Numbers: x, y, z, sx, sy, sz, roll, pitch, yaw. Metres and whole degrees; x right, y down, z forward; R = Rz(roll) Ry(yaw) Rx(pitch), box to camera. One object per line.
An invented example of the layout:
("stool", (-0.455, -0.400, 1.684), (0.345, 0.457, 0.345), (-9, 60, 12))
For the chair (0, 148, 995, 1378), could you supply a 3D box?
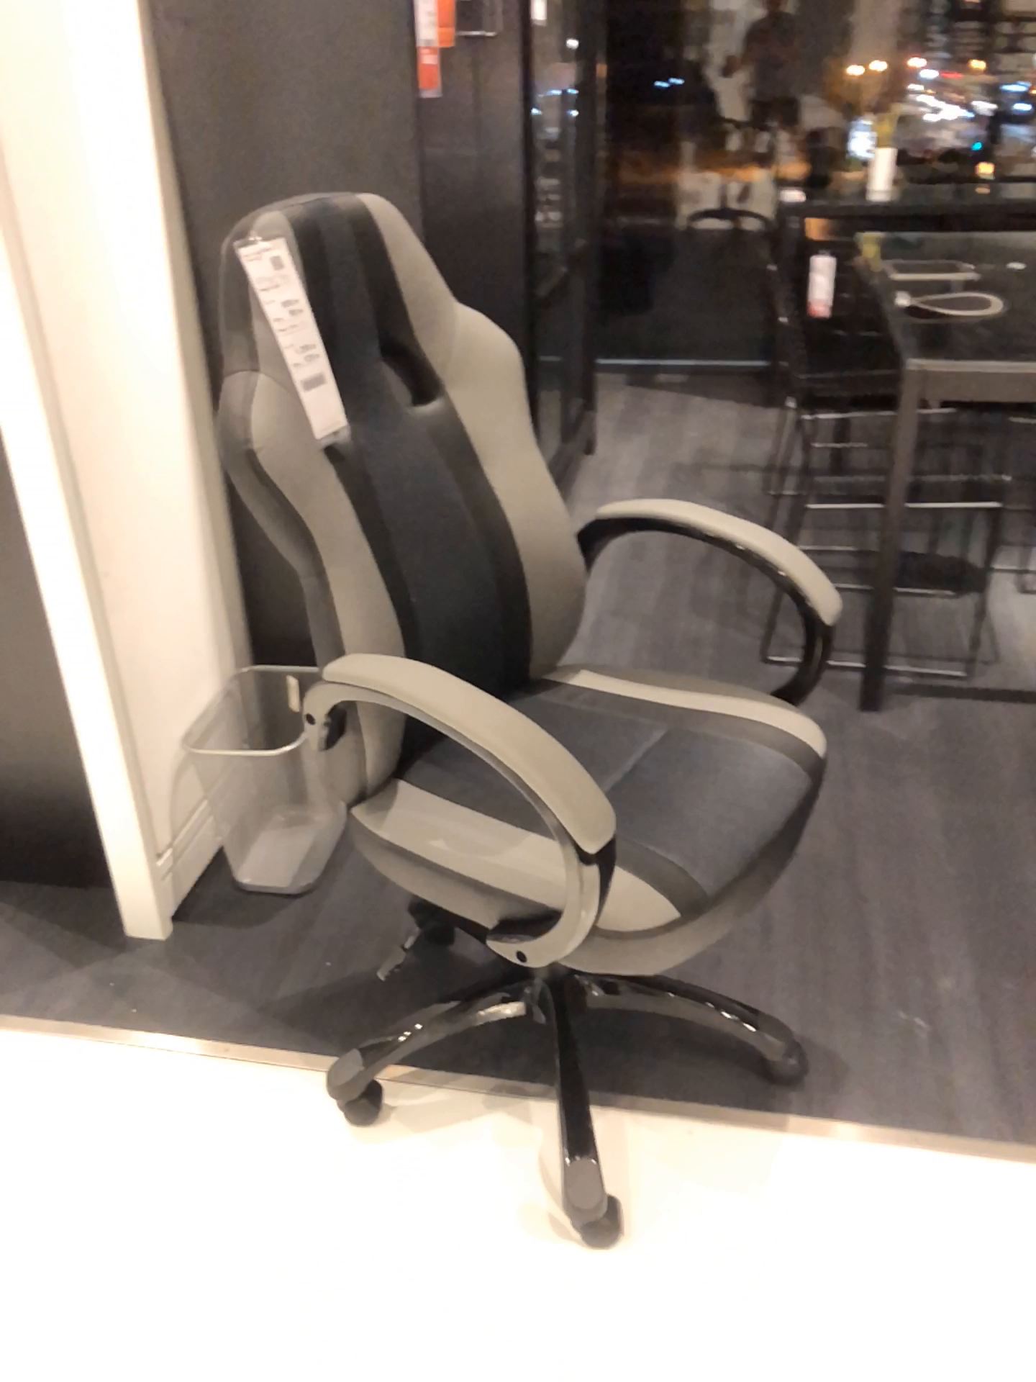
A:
("chair", (-0.006, -0.005, 1.432), (0.781, 1.161, 0.714), (18, 35, 32))
